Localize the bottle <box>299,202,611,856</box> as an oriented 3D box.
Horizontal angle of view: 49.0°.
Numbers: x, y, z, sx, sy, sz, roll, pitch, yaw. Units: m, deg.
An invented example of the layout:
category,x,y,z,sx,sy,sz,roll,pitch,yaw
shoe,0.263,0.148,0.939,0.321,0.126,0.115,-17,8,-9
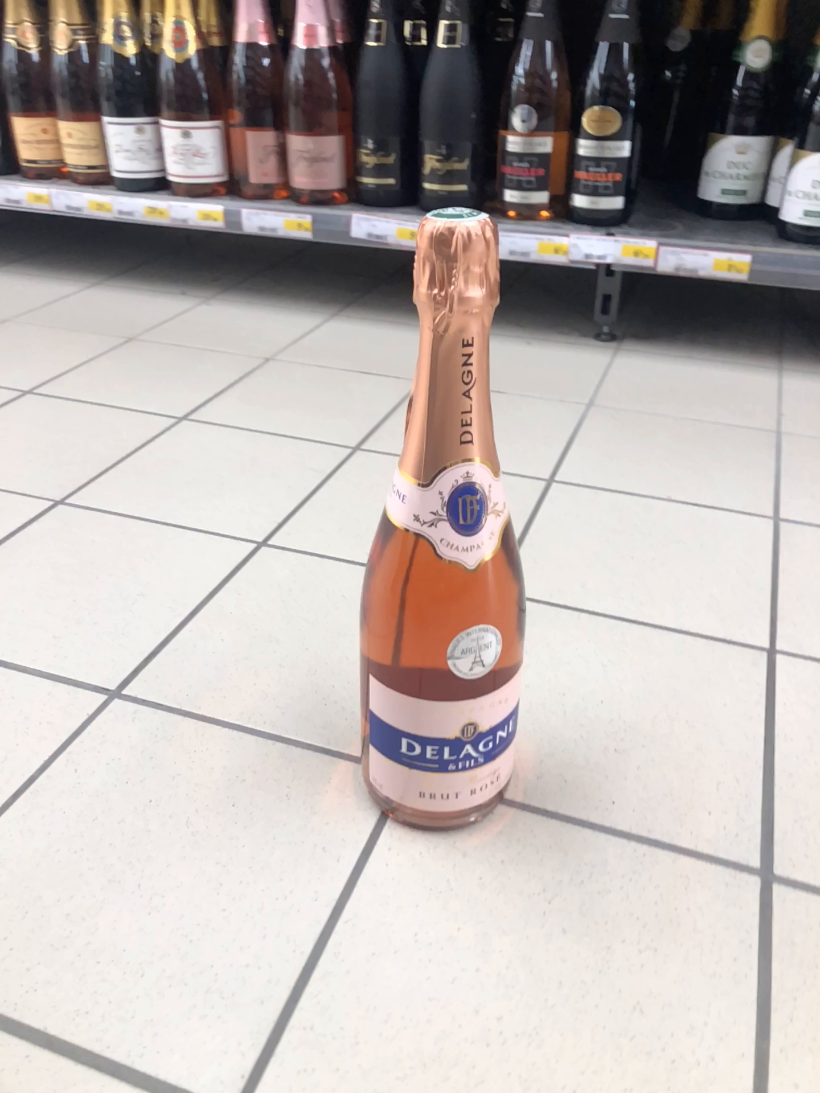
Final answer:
category,x,y,z,sx,sy,sz,roll,pitch,yaw
bottle,0.011,0.000,0.421,0.100,0.288,0.090,-6,31,-12
